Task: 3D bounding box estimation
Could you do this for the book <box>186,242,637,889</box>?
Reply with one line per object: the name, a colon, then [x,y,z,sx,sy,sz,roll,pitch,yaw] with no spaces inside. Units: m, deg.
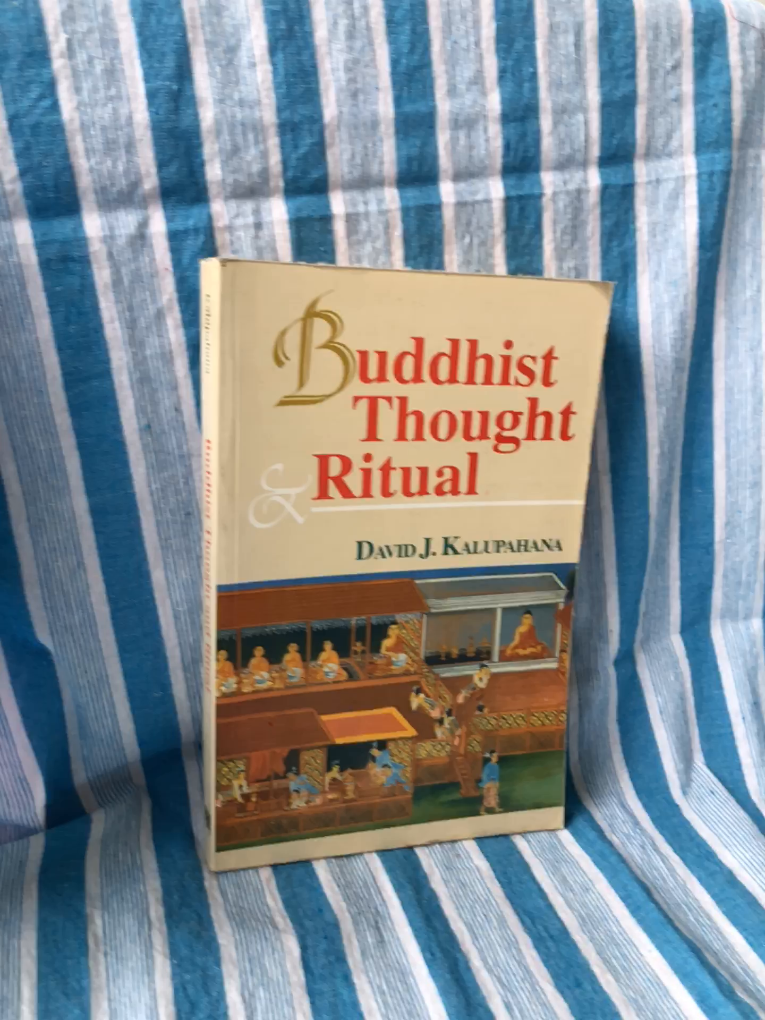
book: [0.007,0.024,0.307,0.150,0.219,0.020,-1,15,-17]
